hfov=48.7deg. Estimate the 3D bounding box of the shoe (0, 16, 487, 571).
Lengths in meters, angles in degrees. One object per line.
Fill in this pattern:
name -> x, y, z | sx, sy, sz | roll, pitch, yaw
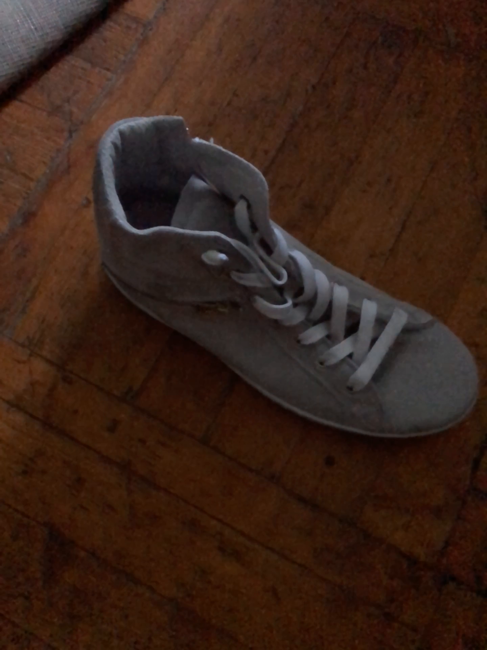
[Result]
shoe -> 0.034, -0.011, 0.363 | 0.310, 0.220, 0.130 | 31, 83, 9
